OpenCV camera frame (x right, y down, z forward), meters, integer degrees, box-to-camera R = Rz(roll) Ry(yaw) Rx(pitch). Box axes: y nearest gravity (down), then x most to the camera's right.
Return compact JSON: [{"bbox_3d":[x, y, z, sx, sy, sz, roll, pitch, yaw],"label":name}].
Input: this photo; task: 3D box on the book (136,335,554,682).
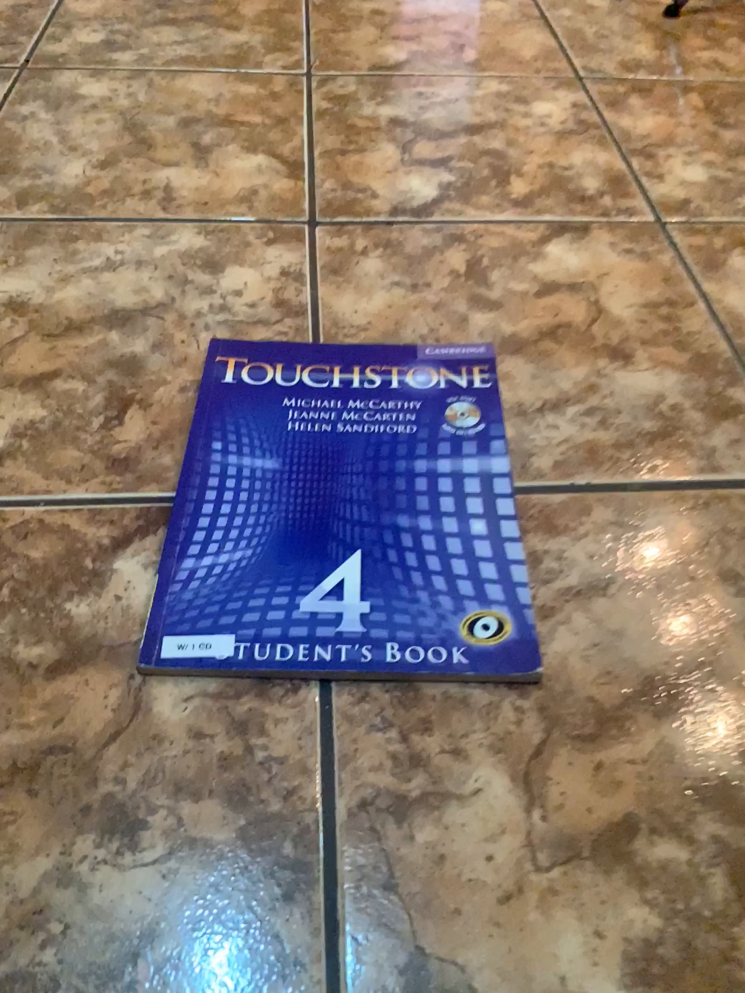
[{"bbox_3d":[-0.015,-0.011,0.492,0.219,0.010,0.276,1,50,-2],"label":"book"}]
